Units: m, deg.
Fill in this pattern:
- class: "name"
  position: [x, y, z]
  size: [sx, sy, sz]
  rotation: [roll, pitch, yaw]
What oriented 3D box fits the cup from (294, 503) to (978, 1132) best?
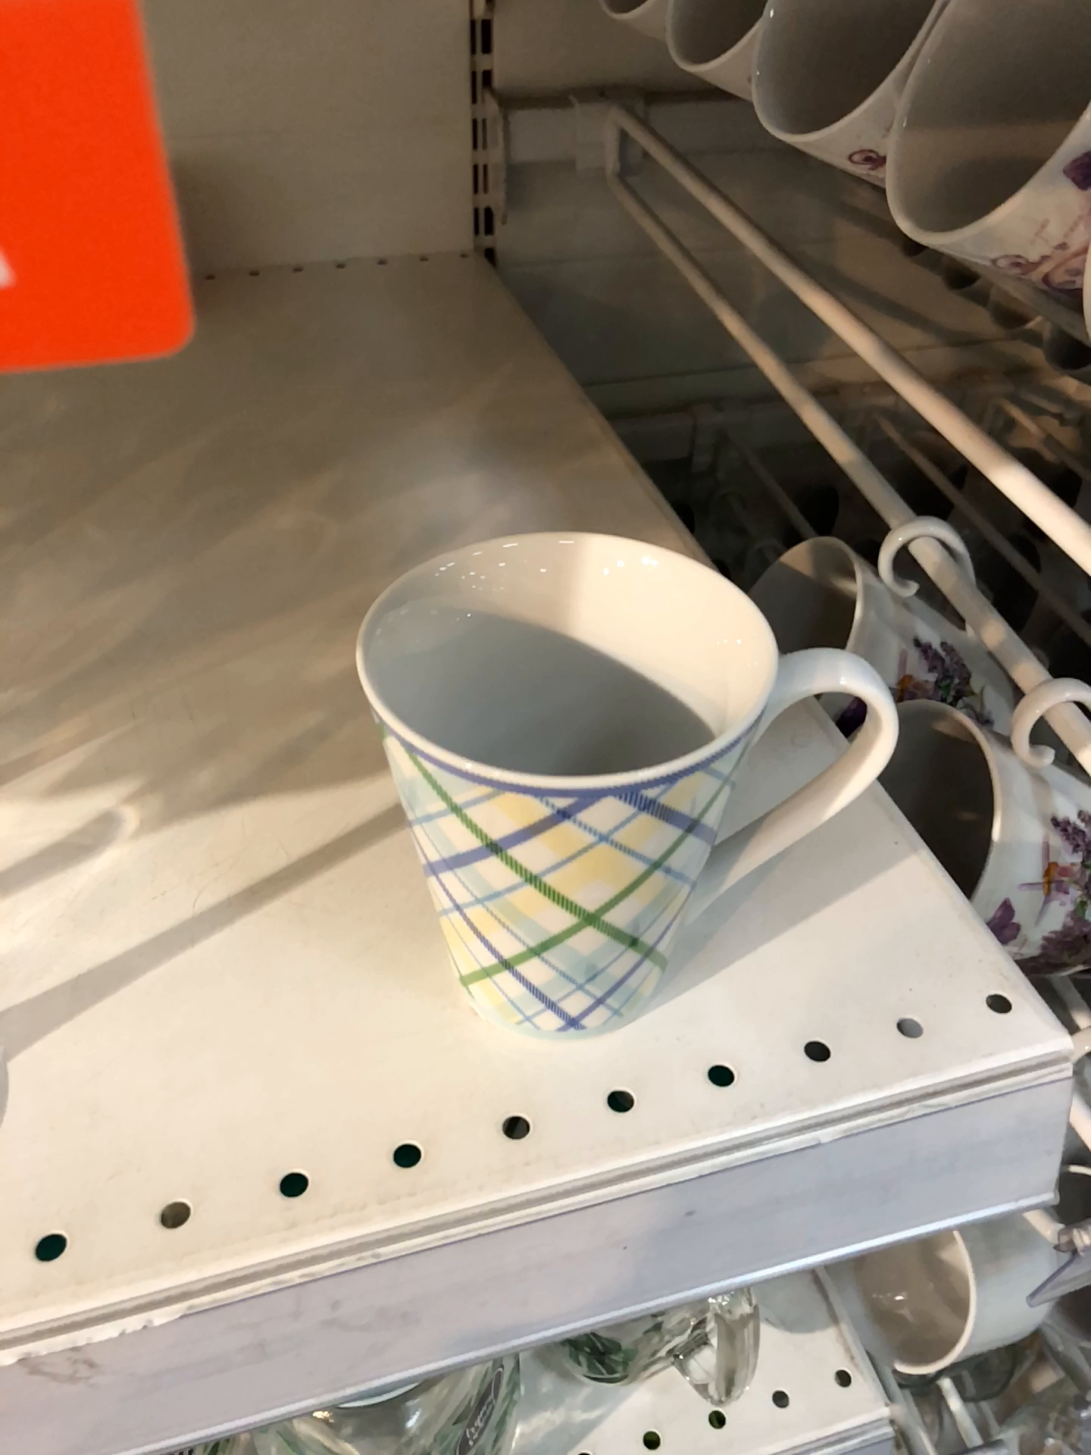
- class: "cup"
  position: [0.011, 0.015, 0.267]
  size: [0.116, 0.085, 0.089]
  rotation: [-8, 41, -11]
